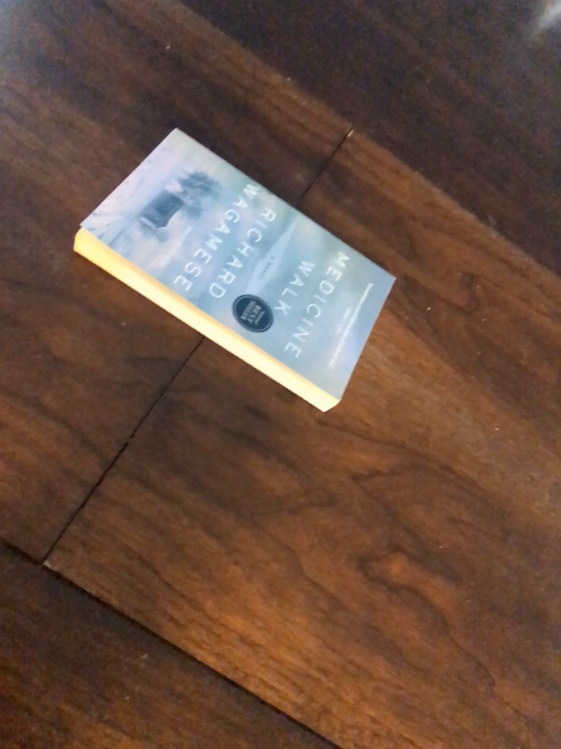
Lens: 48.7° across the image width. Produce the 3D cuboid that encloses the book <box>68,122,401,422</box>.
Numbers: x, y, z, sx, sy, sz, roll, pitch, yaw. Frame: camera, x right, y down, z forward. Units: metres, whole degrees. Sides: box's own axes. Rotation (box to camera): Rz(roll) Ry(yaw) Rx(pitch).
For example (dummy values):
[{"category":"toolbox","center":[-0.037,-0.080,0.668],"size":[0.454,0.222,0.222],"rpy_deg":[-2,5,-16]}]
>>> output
[{"category":"book","center":[-0.024,-0.079,0.453],"size":[0.206,0.027,0.138],"rpy_deg":[33,57,-6]}]
